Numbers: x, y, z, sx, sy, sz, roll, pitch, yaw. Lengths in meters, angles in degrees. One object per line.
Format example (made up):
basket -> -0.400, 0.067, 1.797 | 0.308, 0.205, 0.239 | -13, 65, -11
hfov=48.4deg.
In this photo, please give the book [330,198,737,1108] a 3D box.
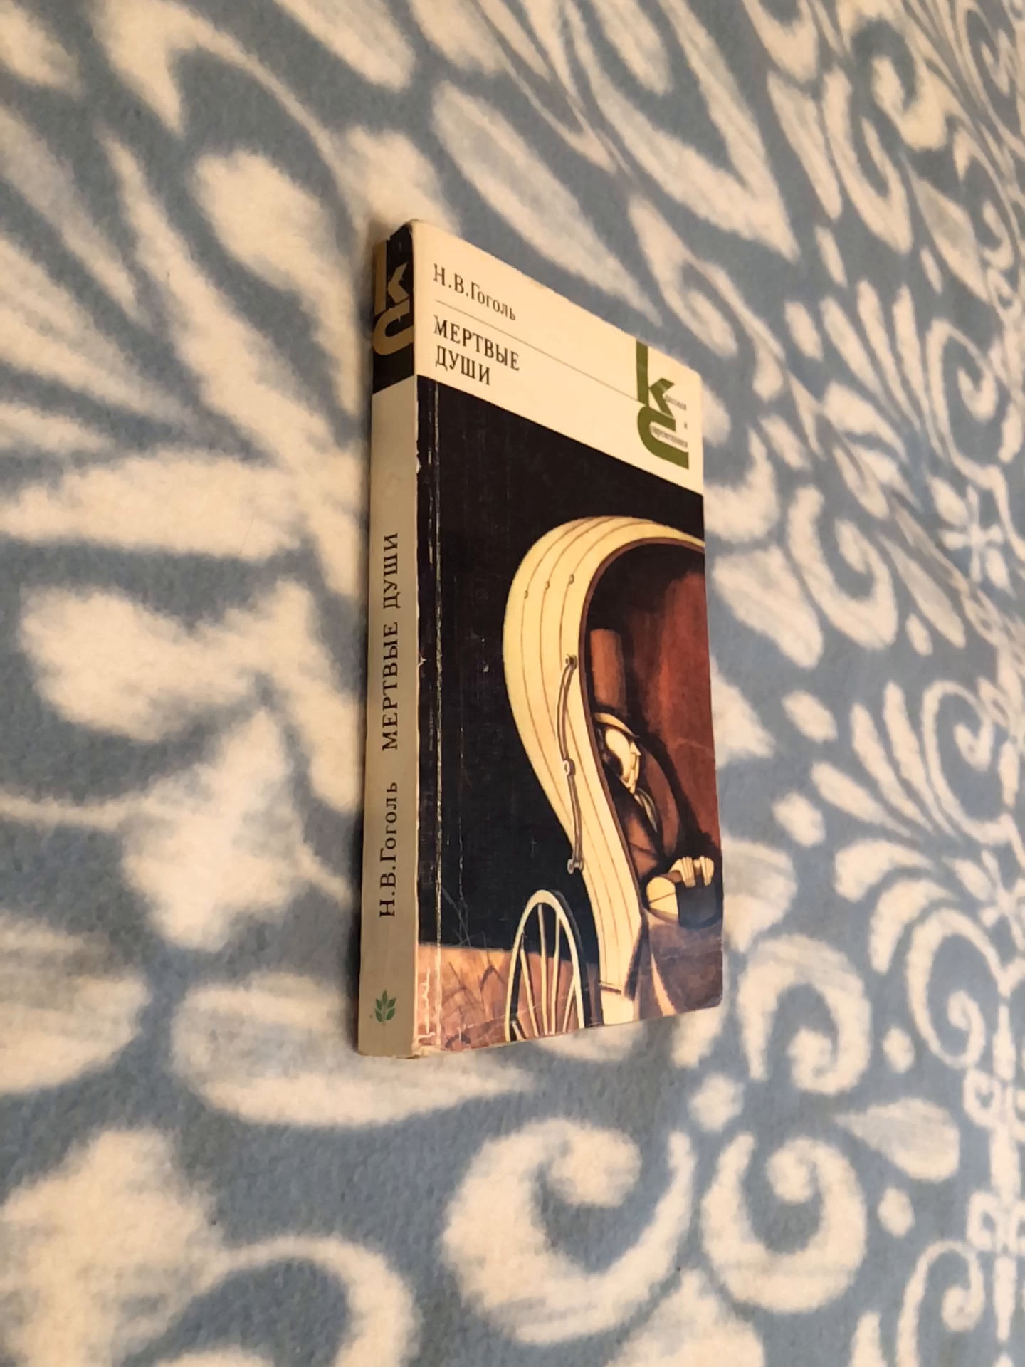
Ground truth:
book -> 0.011, -0.005, 0.299 | 0.126, 0.024, 0.199 | 10, 75, -48
